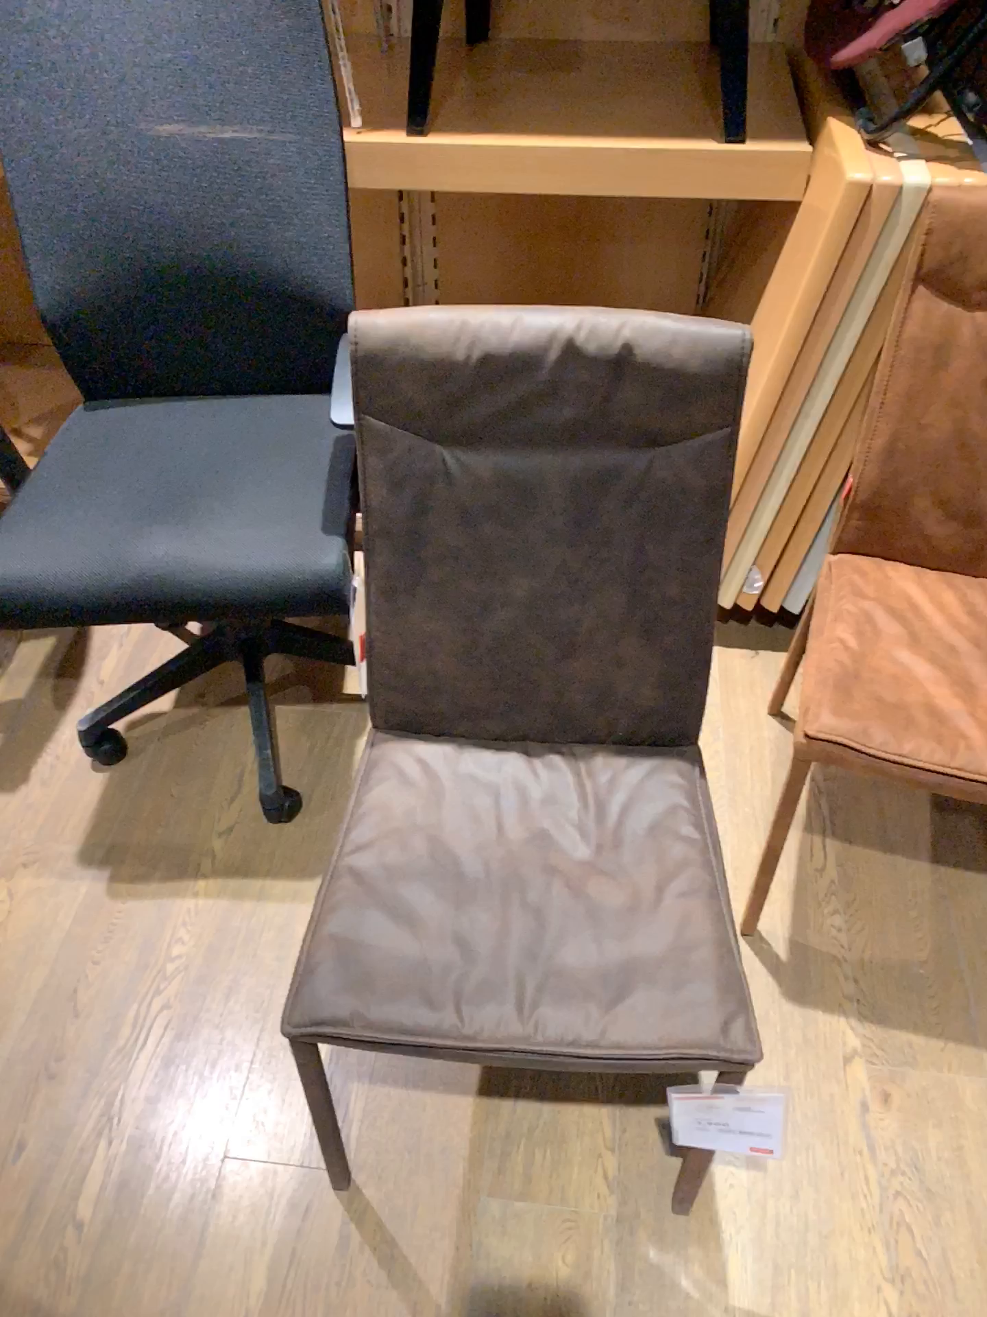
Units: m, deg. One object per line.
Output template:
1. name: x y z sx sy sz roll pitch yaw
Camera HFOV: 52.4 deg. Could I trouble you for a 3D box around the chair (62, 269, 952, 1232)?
1. chair: 0.023 0.153 1.066 0.500 0.907 0.521 4 44 4
